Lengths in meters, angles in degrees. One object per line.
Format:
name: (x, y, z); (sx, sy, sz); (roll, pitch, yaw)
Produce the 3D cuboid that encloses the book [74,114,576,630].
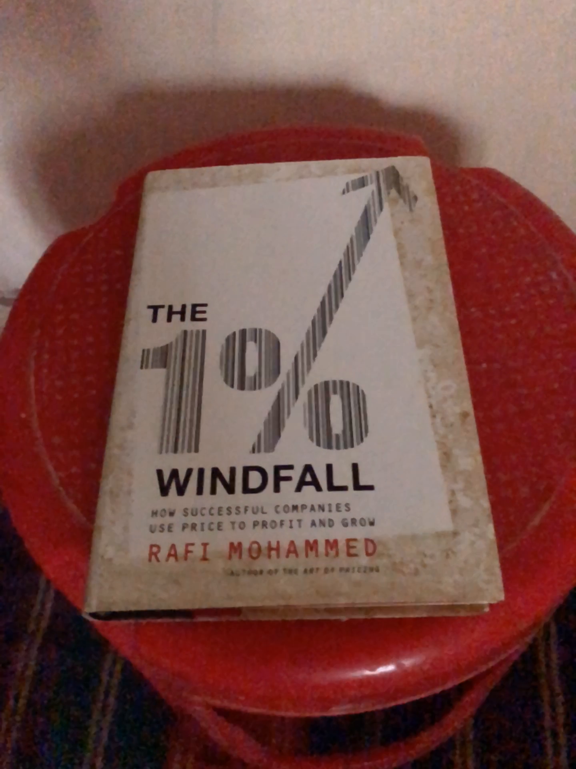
book: (0.011, -0.024, 0.313); (0.180, 0.040, 0.261); (-2, 60, 2)
